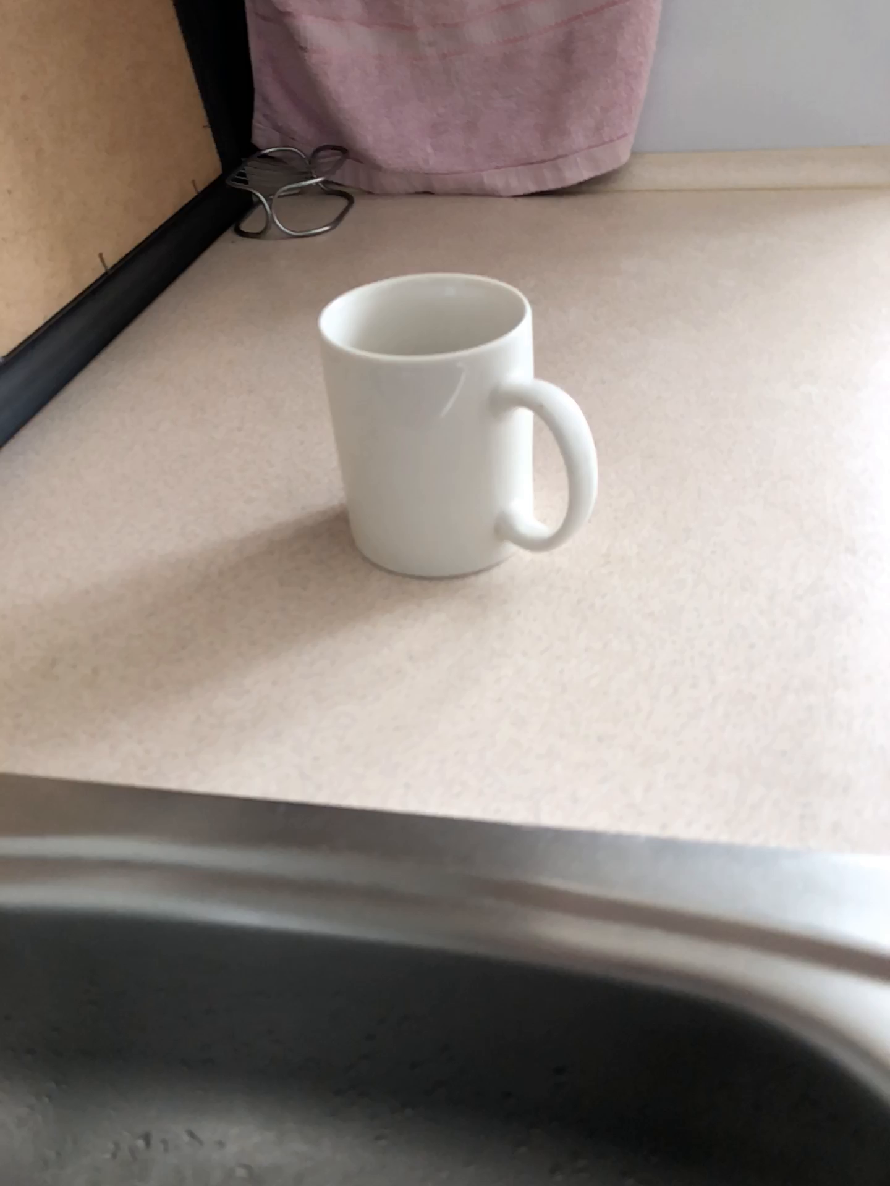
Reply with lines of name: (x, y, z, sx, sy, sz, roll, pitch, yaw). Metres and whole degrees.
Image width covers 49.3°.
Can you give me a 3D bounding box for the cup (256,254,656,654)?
cup: (0.005, -0.060, 0.382, 0.120, 0.099, 0.084, 28, 49, 34)
